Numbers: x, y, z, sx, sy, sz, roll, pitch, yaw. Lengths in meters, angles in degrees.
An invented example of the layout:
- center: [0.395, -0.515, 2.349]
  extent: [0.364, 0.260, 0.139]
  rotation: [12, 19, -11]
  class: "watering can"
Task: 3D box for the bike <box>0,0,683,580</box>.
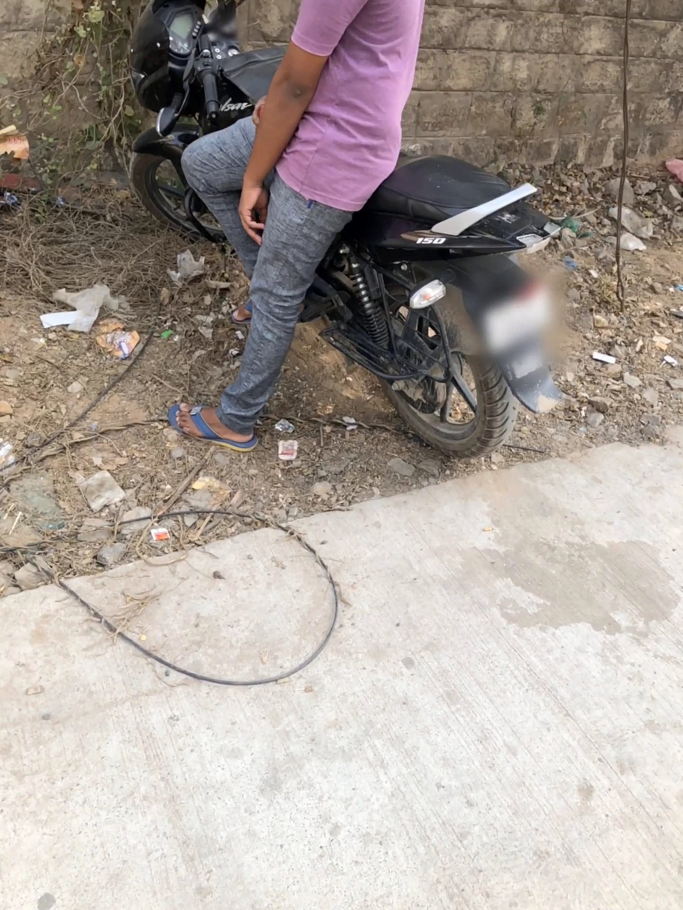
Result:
- center: [-0.253, -0.784, 2.172]
  extent: [0.818, 1.214, 1.813]
  rotation: [-27, 51, -38]
  class: "bike"
